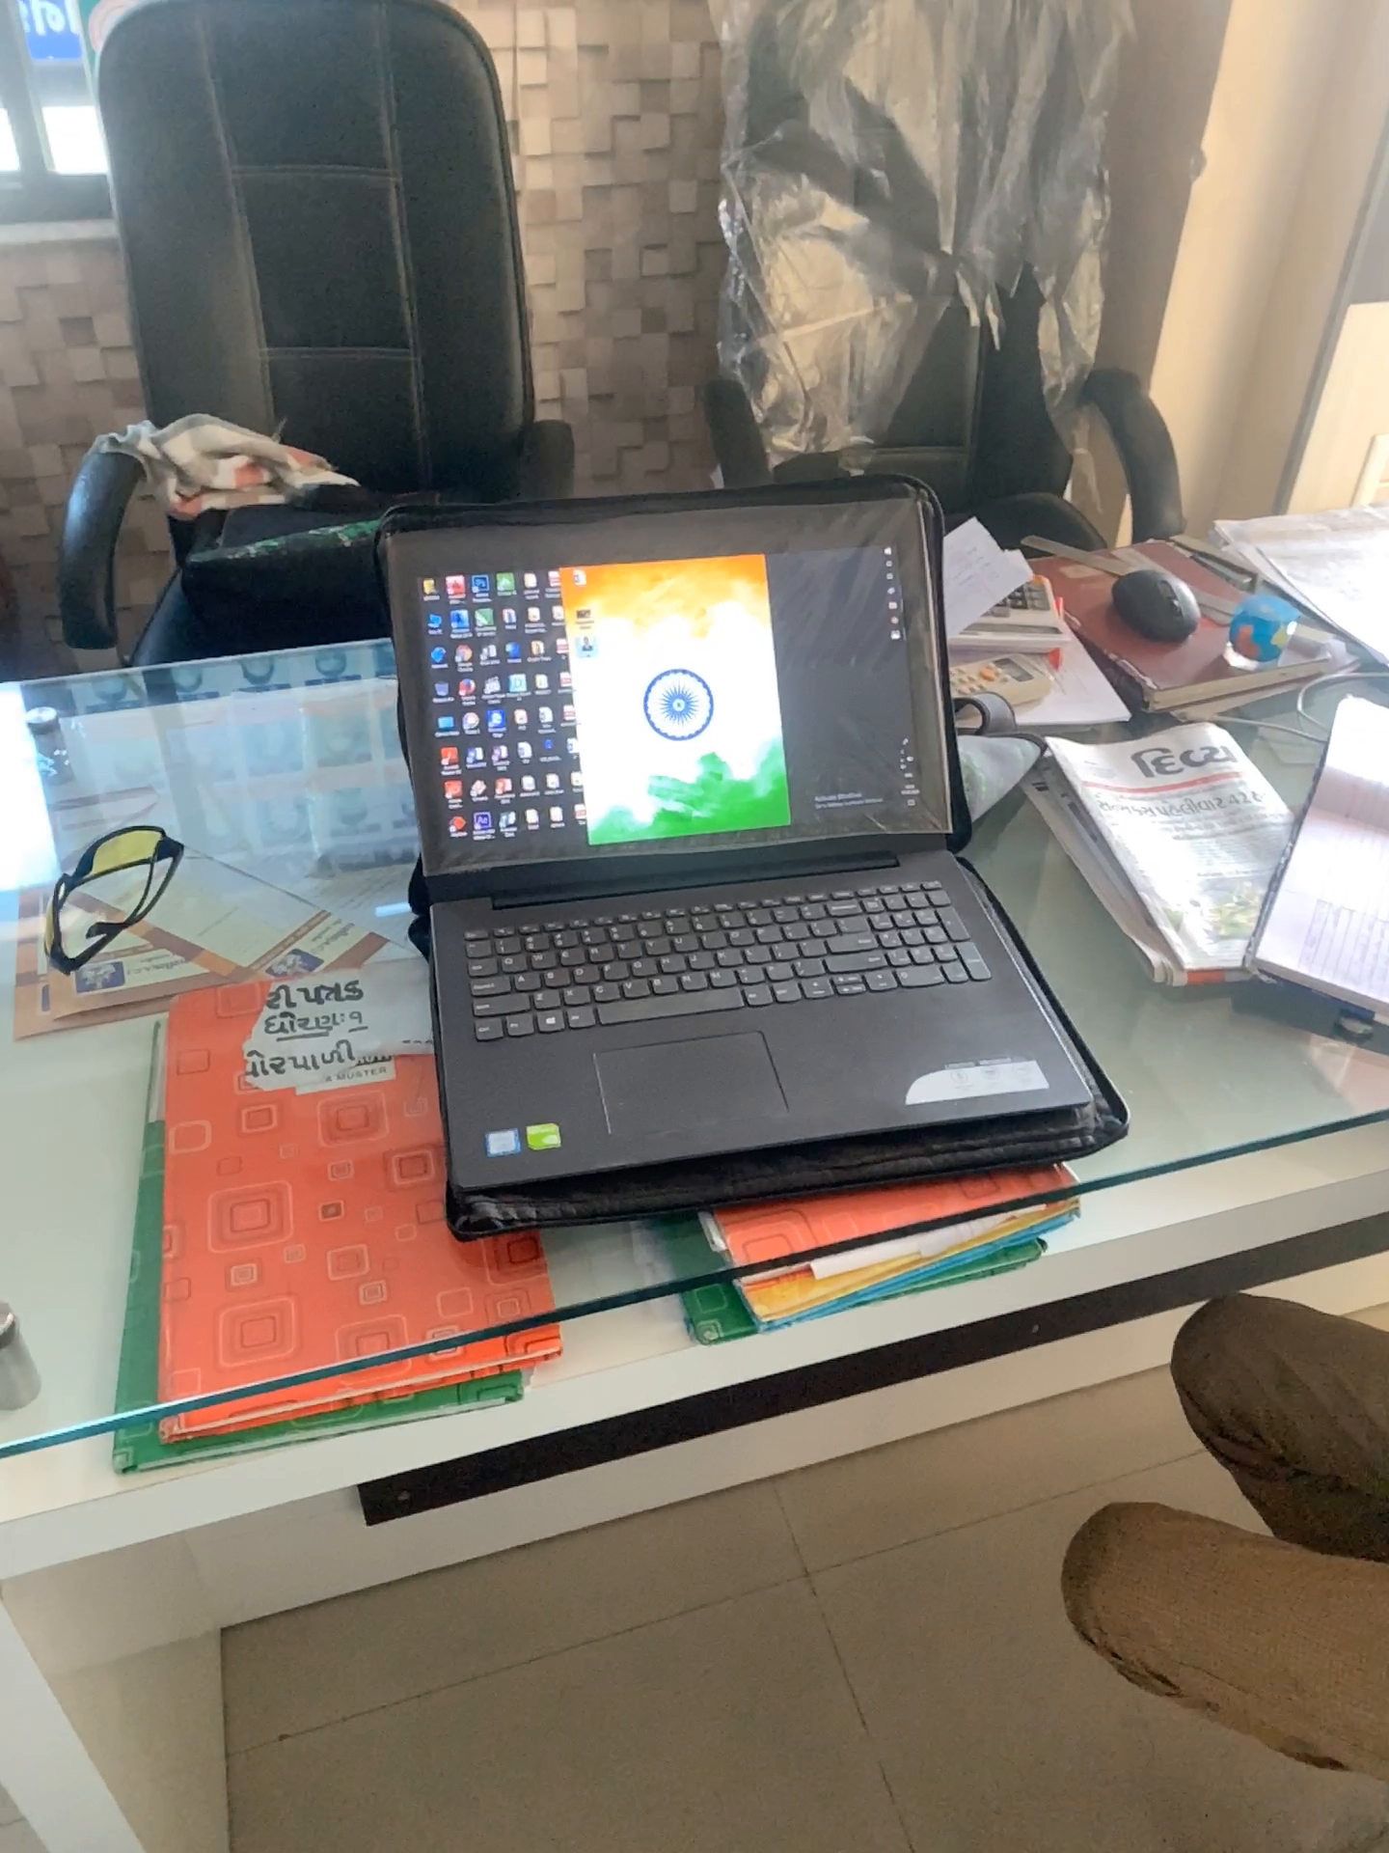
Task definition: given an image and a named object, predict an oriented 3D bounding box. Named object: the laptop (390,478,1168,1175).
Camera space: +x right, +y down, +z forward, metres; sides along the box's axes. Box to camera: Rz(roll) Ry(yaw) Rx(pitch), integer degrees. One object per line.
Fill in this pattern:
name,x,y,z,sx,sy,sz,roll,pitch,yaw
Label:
laptop,0.009,-0.086,0.814,0.334,0.175,0.392,-6,40,-9
